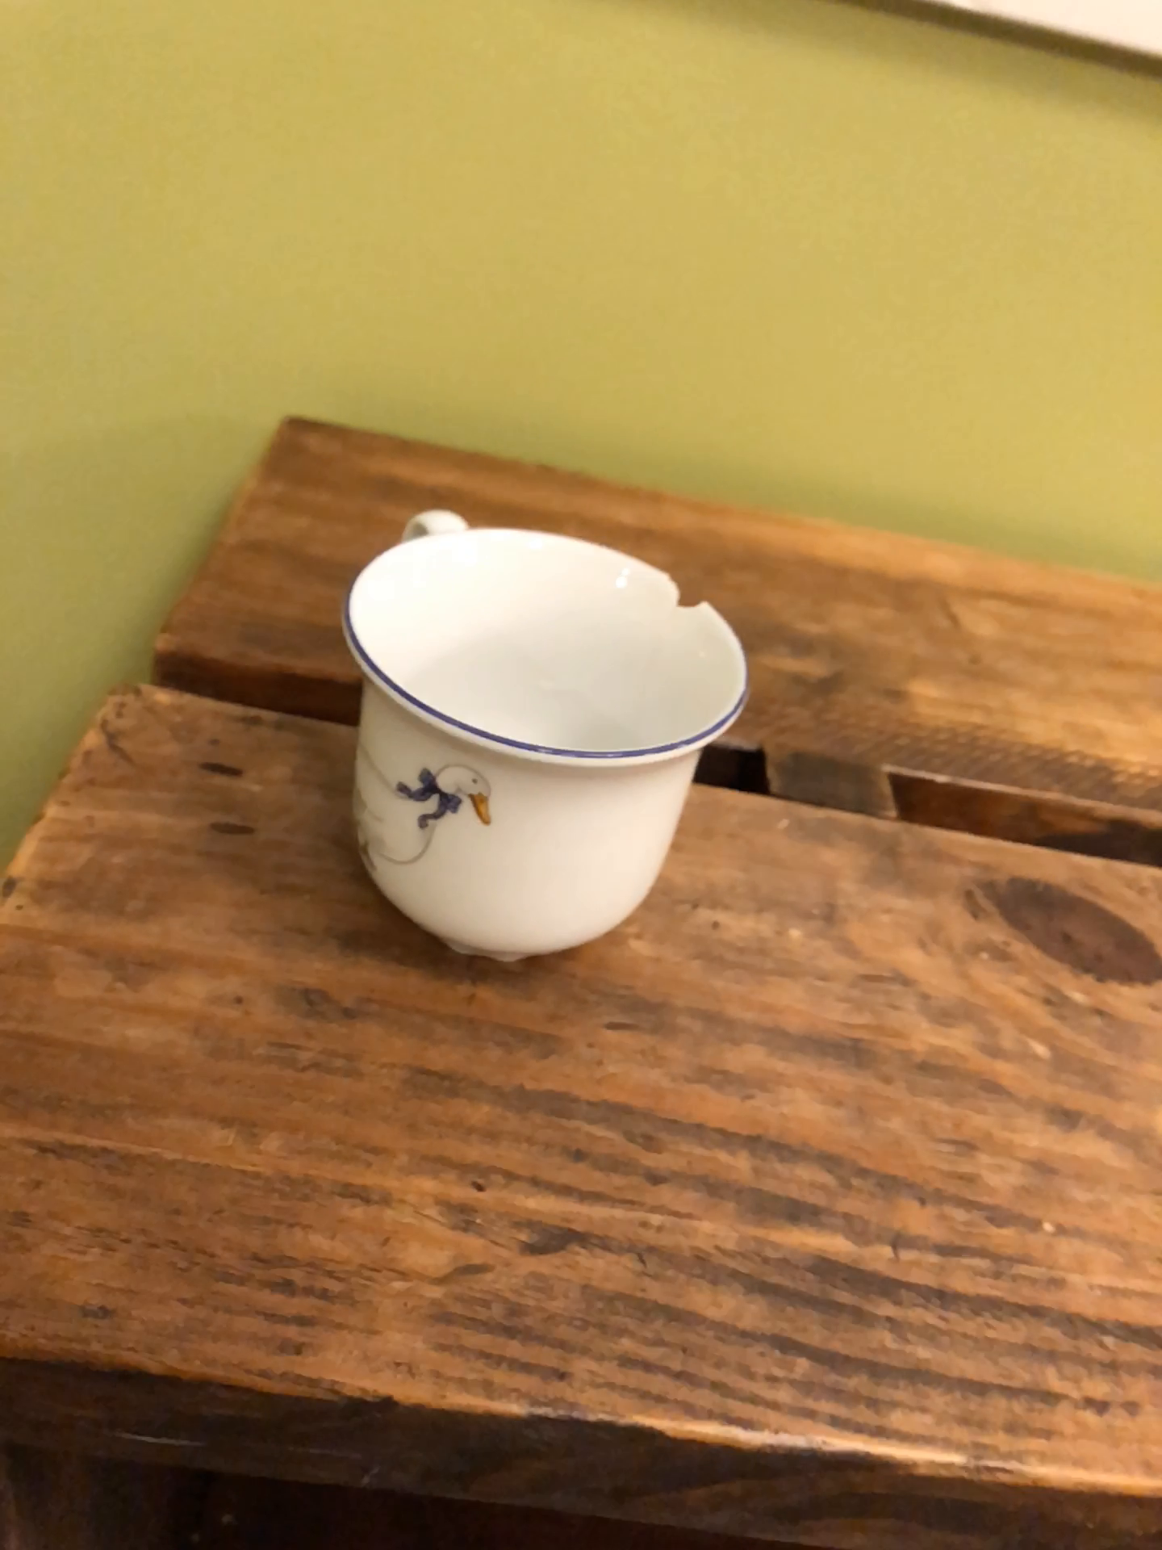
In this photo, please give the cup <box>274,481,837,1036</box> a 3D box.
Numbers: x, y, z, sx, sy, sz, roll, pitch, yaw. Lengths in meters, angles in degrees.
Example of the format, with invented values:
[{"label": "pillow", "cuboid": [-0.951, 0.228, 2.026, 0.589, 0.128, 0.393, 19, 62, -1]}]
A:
[{"label": "cup", "cuboid": [-0.015, -0.011, 0.292, 0.090, 0.066, 0.108, -4, 39, -20]}]
